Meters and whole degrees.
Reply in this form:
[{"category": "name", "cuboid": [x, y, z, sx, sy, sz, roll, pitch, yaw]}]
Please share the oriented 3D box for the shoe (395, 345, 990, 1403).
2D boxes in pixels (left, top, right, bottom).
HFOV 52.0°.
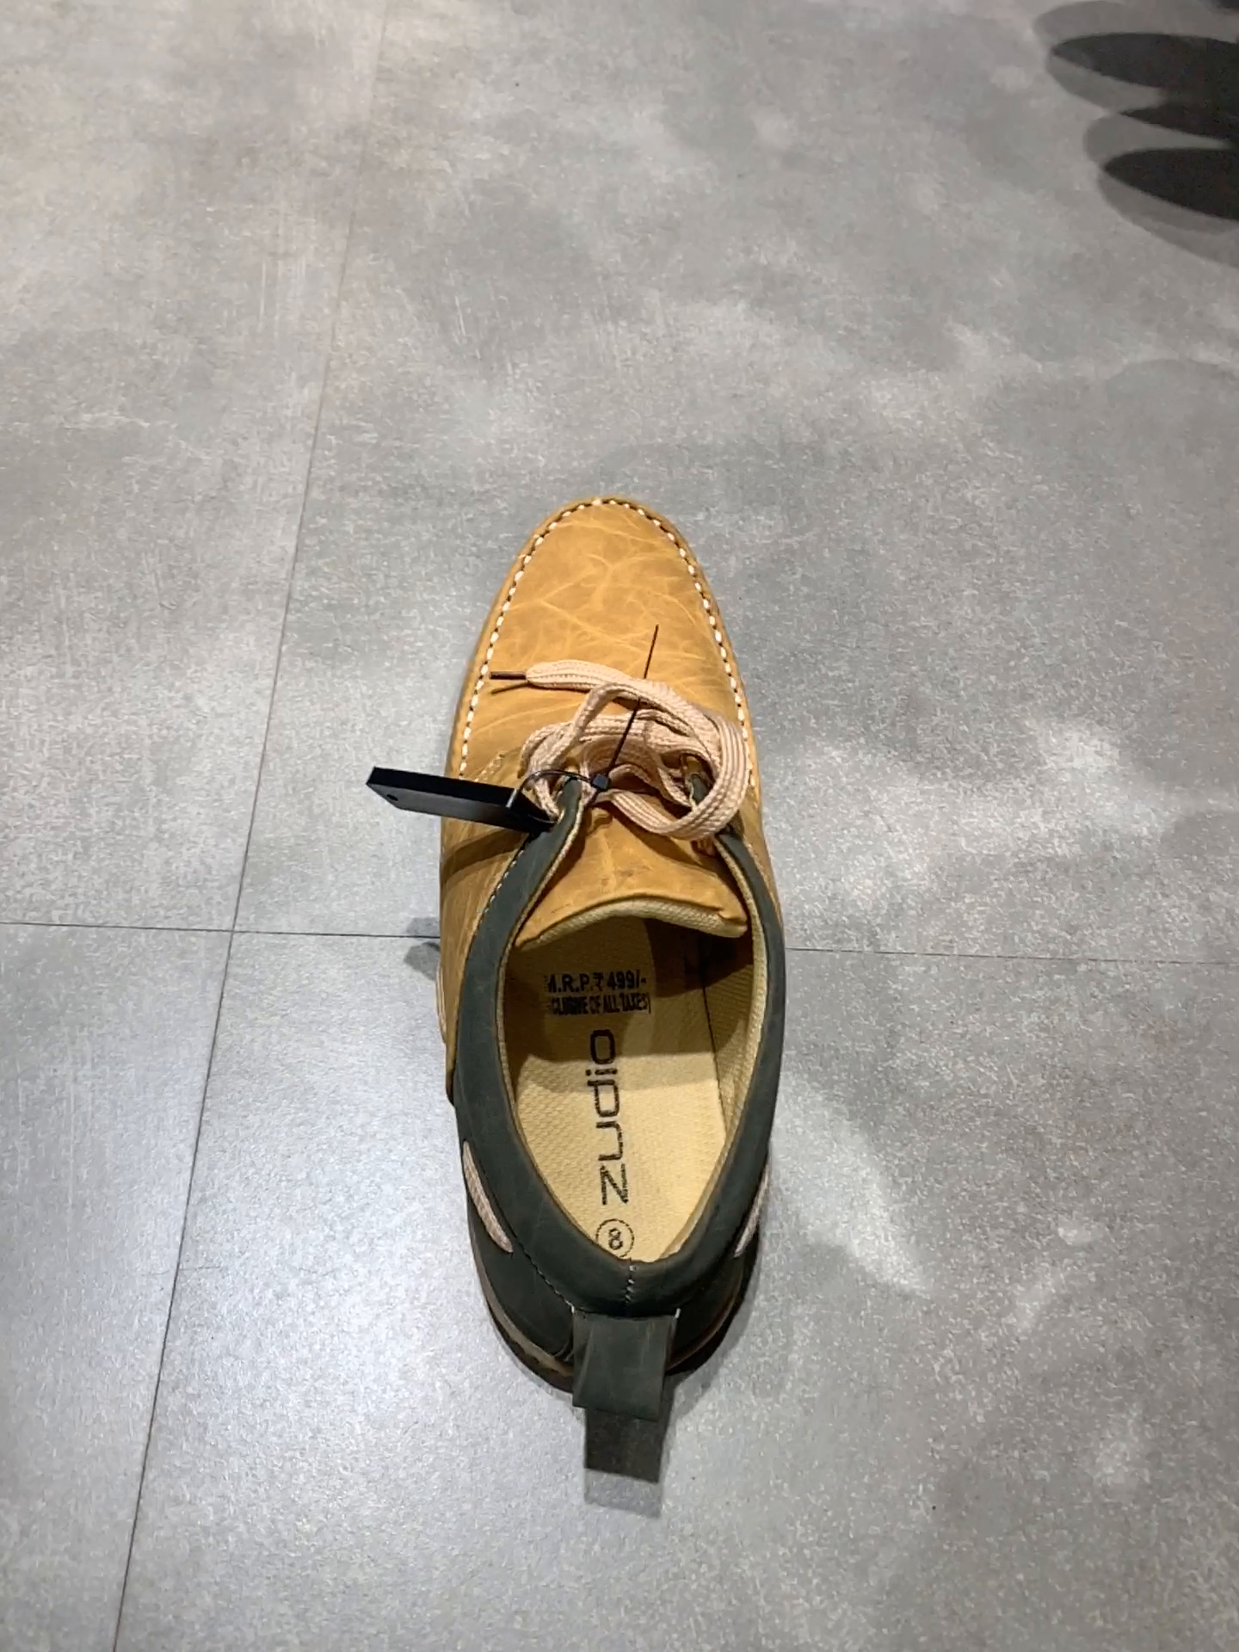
[{"category": "shoe", "cuboid": [0.005, 0.006, 0.354, 0.111, 0.117, 0.267, 1, 59, -6]}]
